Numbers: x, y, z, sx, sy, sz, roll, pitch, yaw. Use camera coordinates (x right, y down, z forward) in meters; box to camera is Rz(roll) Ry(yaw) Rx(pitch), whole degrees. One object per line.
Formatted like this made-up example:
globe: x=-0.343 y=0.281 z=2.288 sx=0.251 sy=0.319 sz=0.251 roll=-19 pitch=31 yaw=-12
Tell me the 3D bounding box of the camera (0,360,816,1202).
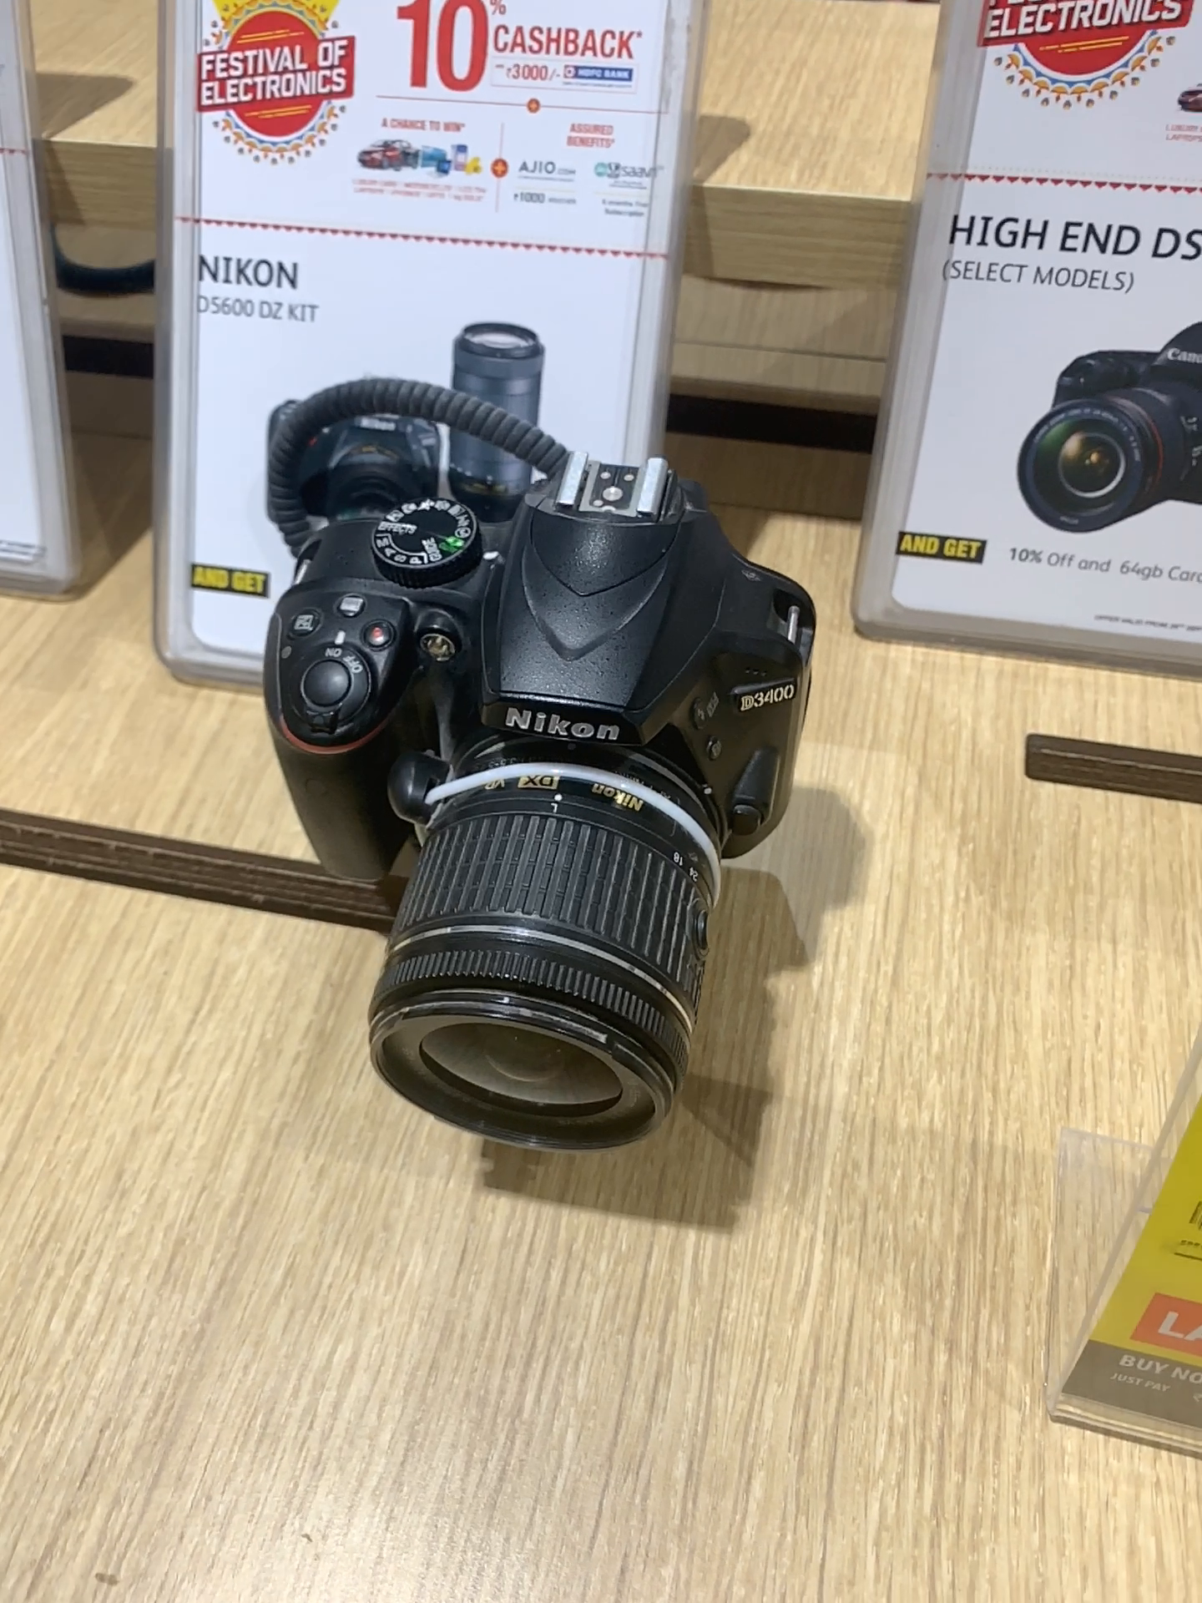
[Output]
camera: x=-0.026 y=-0.006 z=0.249 sx=0.120 sy=0.100 sz=0.120 roll=6 pitch=52 yaw=8
